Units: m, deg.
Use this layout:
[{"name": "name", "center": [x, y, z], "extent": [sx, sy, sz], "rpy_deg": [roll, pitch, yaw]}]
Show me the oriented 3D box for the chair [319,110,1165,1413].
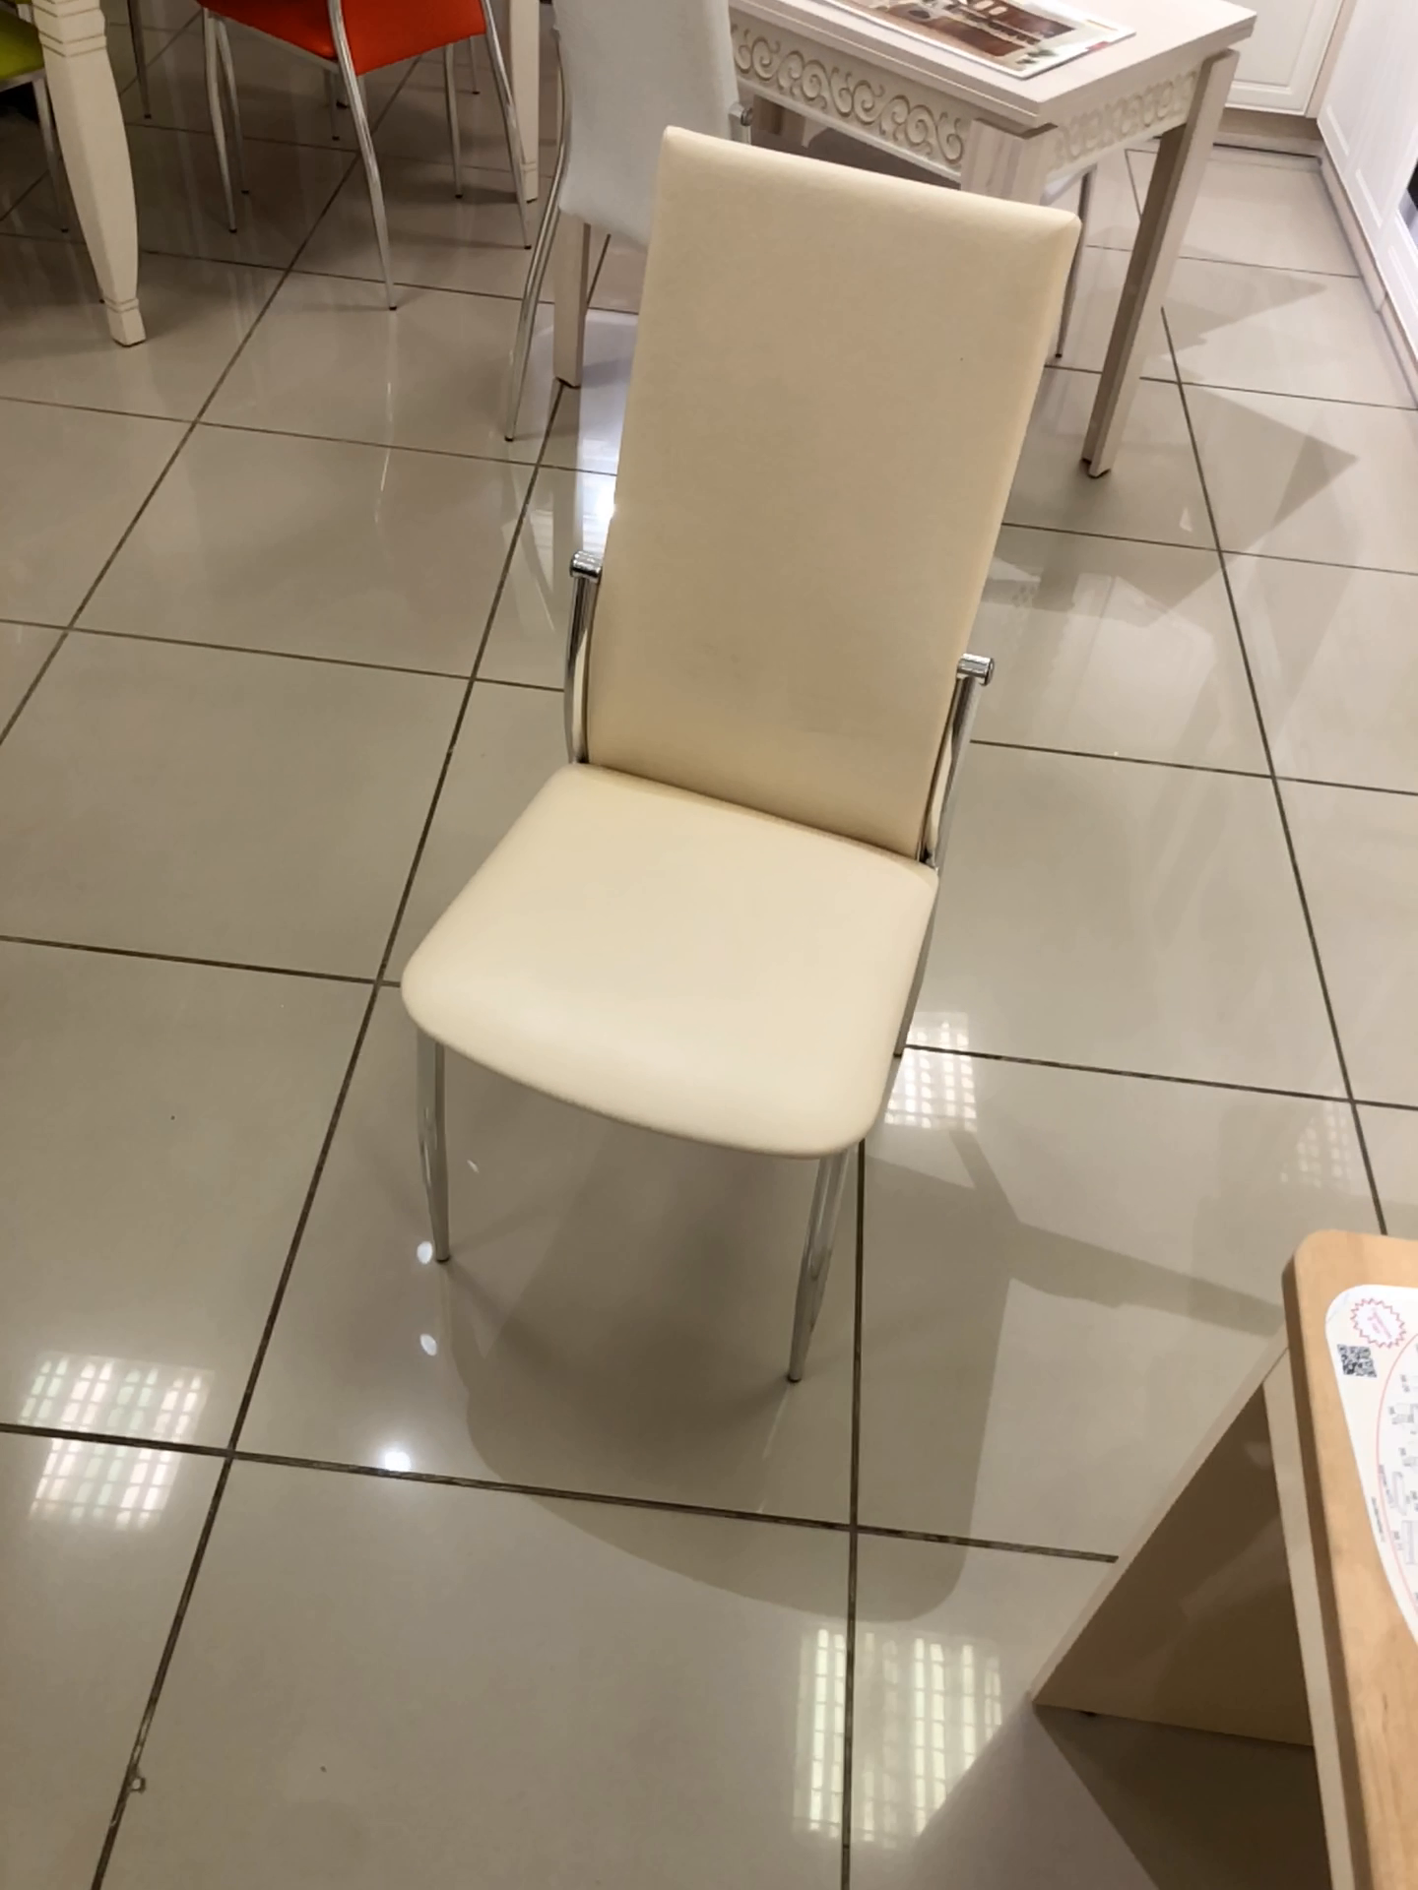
[{"name": "chair", "center": [0.016, -0.101, 1.395], "extent": [0.430, 0.976, 0.502], "rpy_deg": [17, 47, 9]}]
